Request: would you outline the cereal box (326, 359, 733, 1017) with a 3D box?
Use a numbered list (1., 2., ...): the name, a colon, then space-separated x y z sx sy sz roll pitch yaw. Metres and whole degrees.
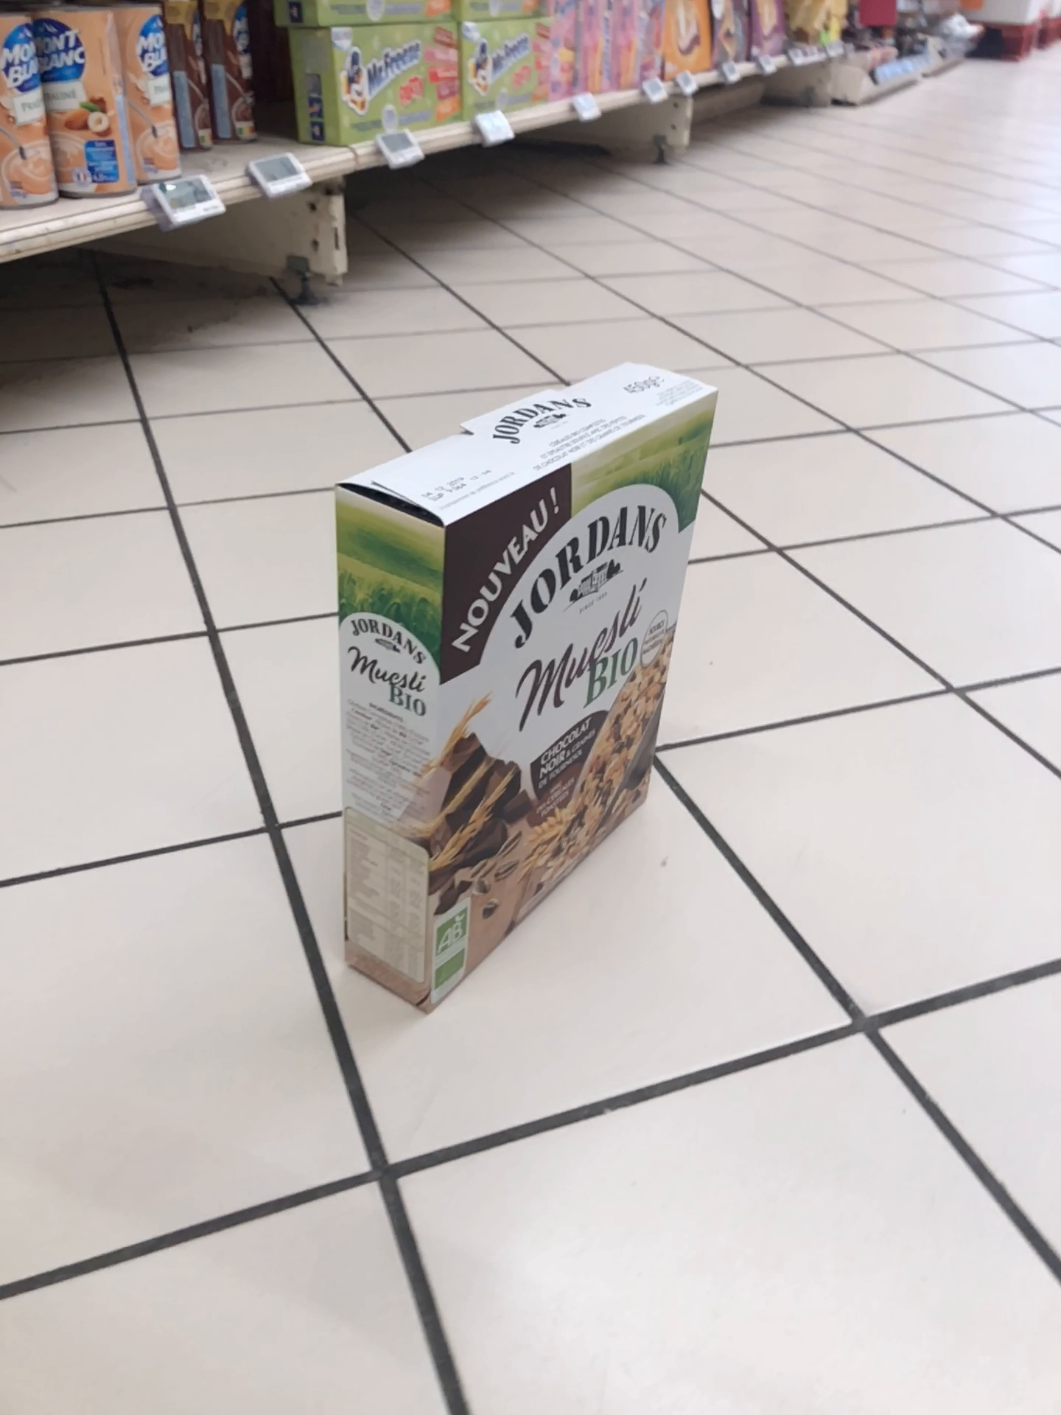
1. cereal box: 0.004 -0.015 0.484 0.050 0.209 0.191 22 37 27
